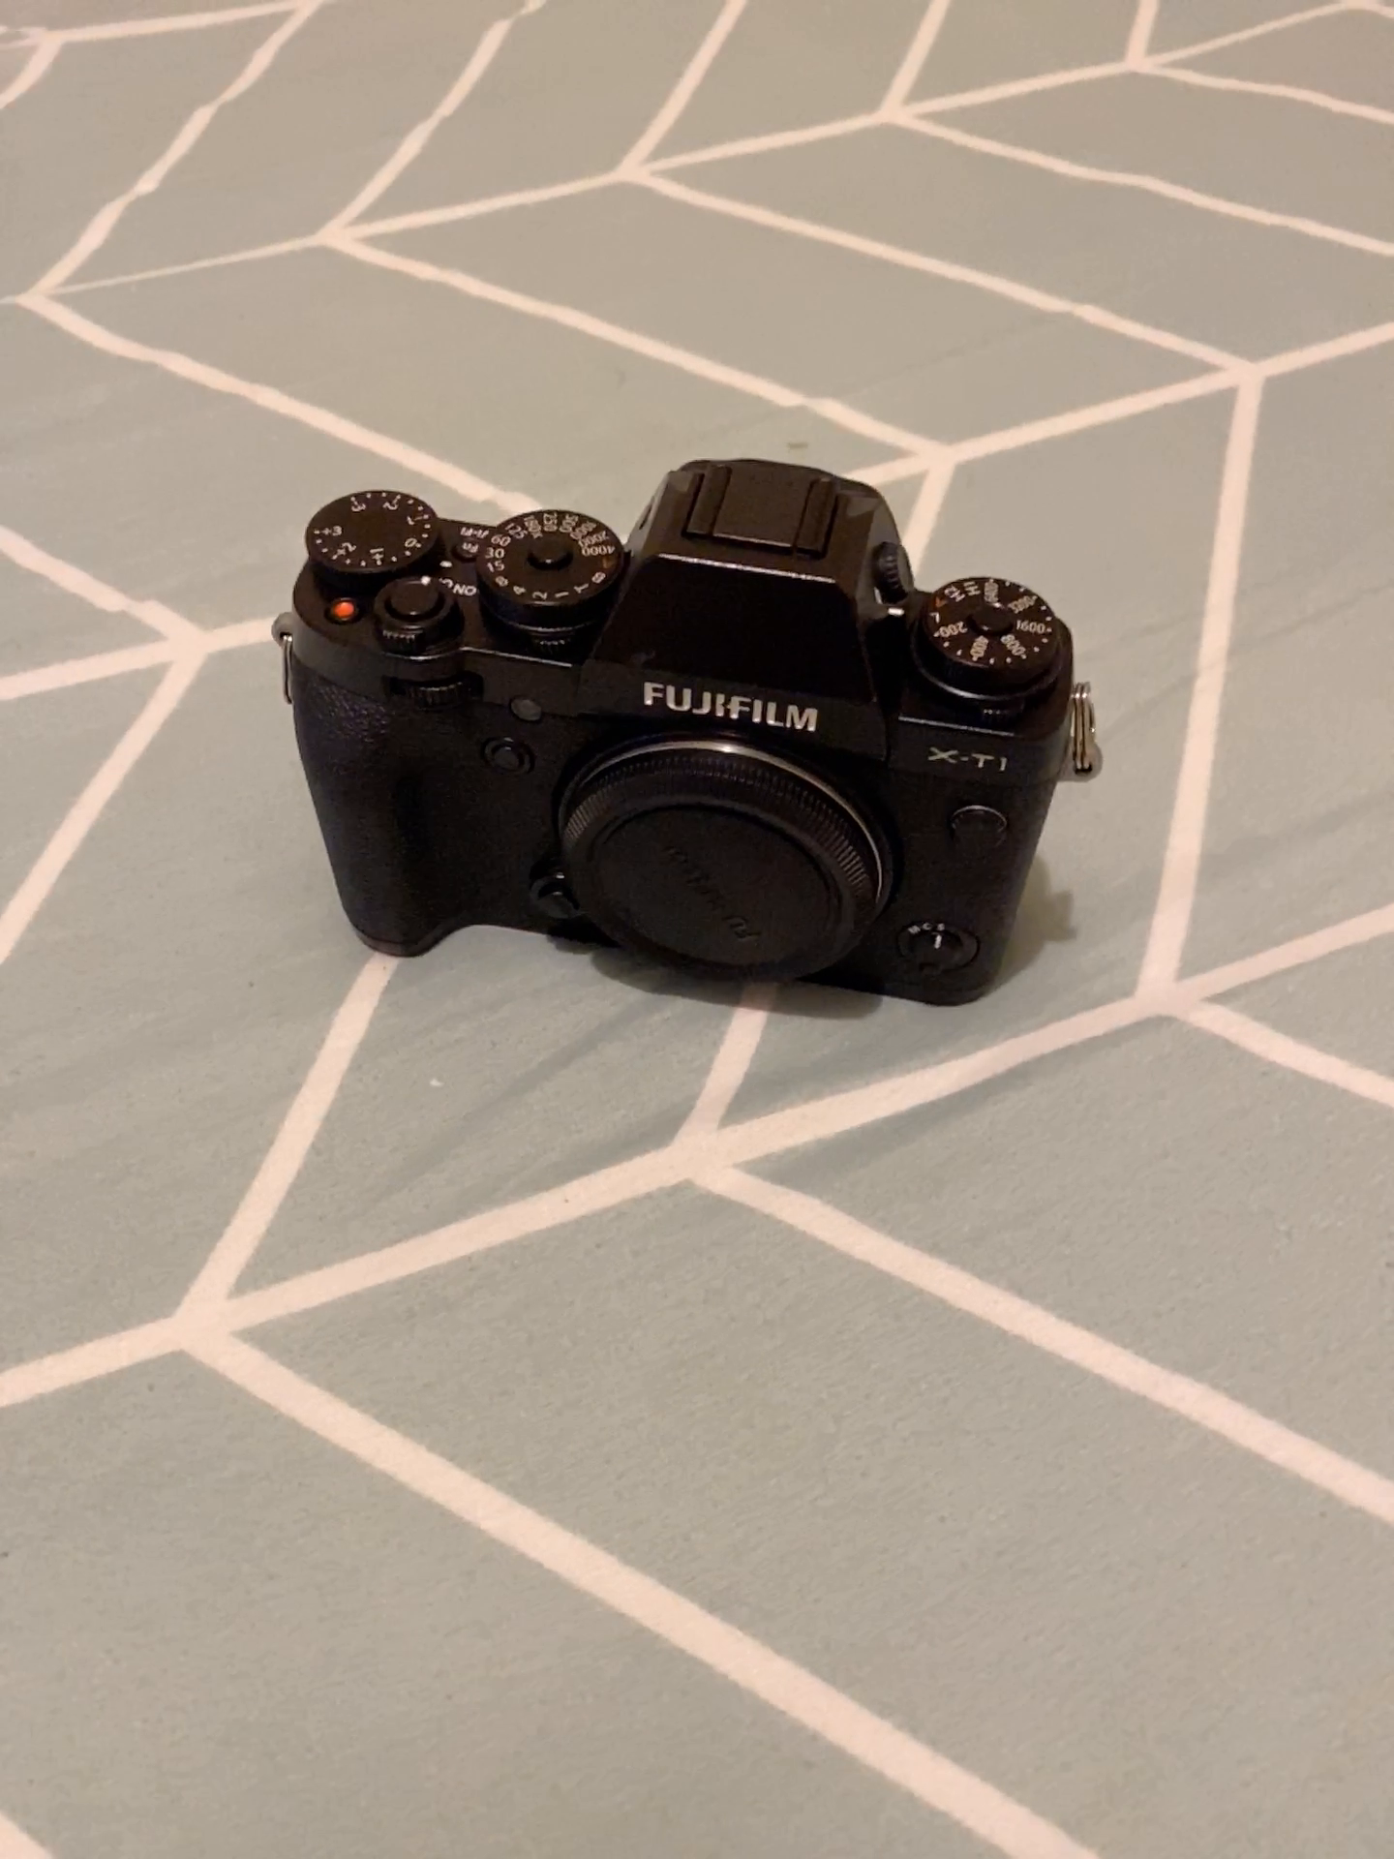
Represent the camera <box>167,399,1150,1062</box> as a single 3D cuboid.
[{"bbox_3d":[-0.003,-0.033,0.252,0.142,0.082,0.054,9,52,7],"label":"camera"}]
